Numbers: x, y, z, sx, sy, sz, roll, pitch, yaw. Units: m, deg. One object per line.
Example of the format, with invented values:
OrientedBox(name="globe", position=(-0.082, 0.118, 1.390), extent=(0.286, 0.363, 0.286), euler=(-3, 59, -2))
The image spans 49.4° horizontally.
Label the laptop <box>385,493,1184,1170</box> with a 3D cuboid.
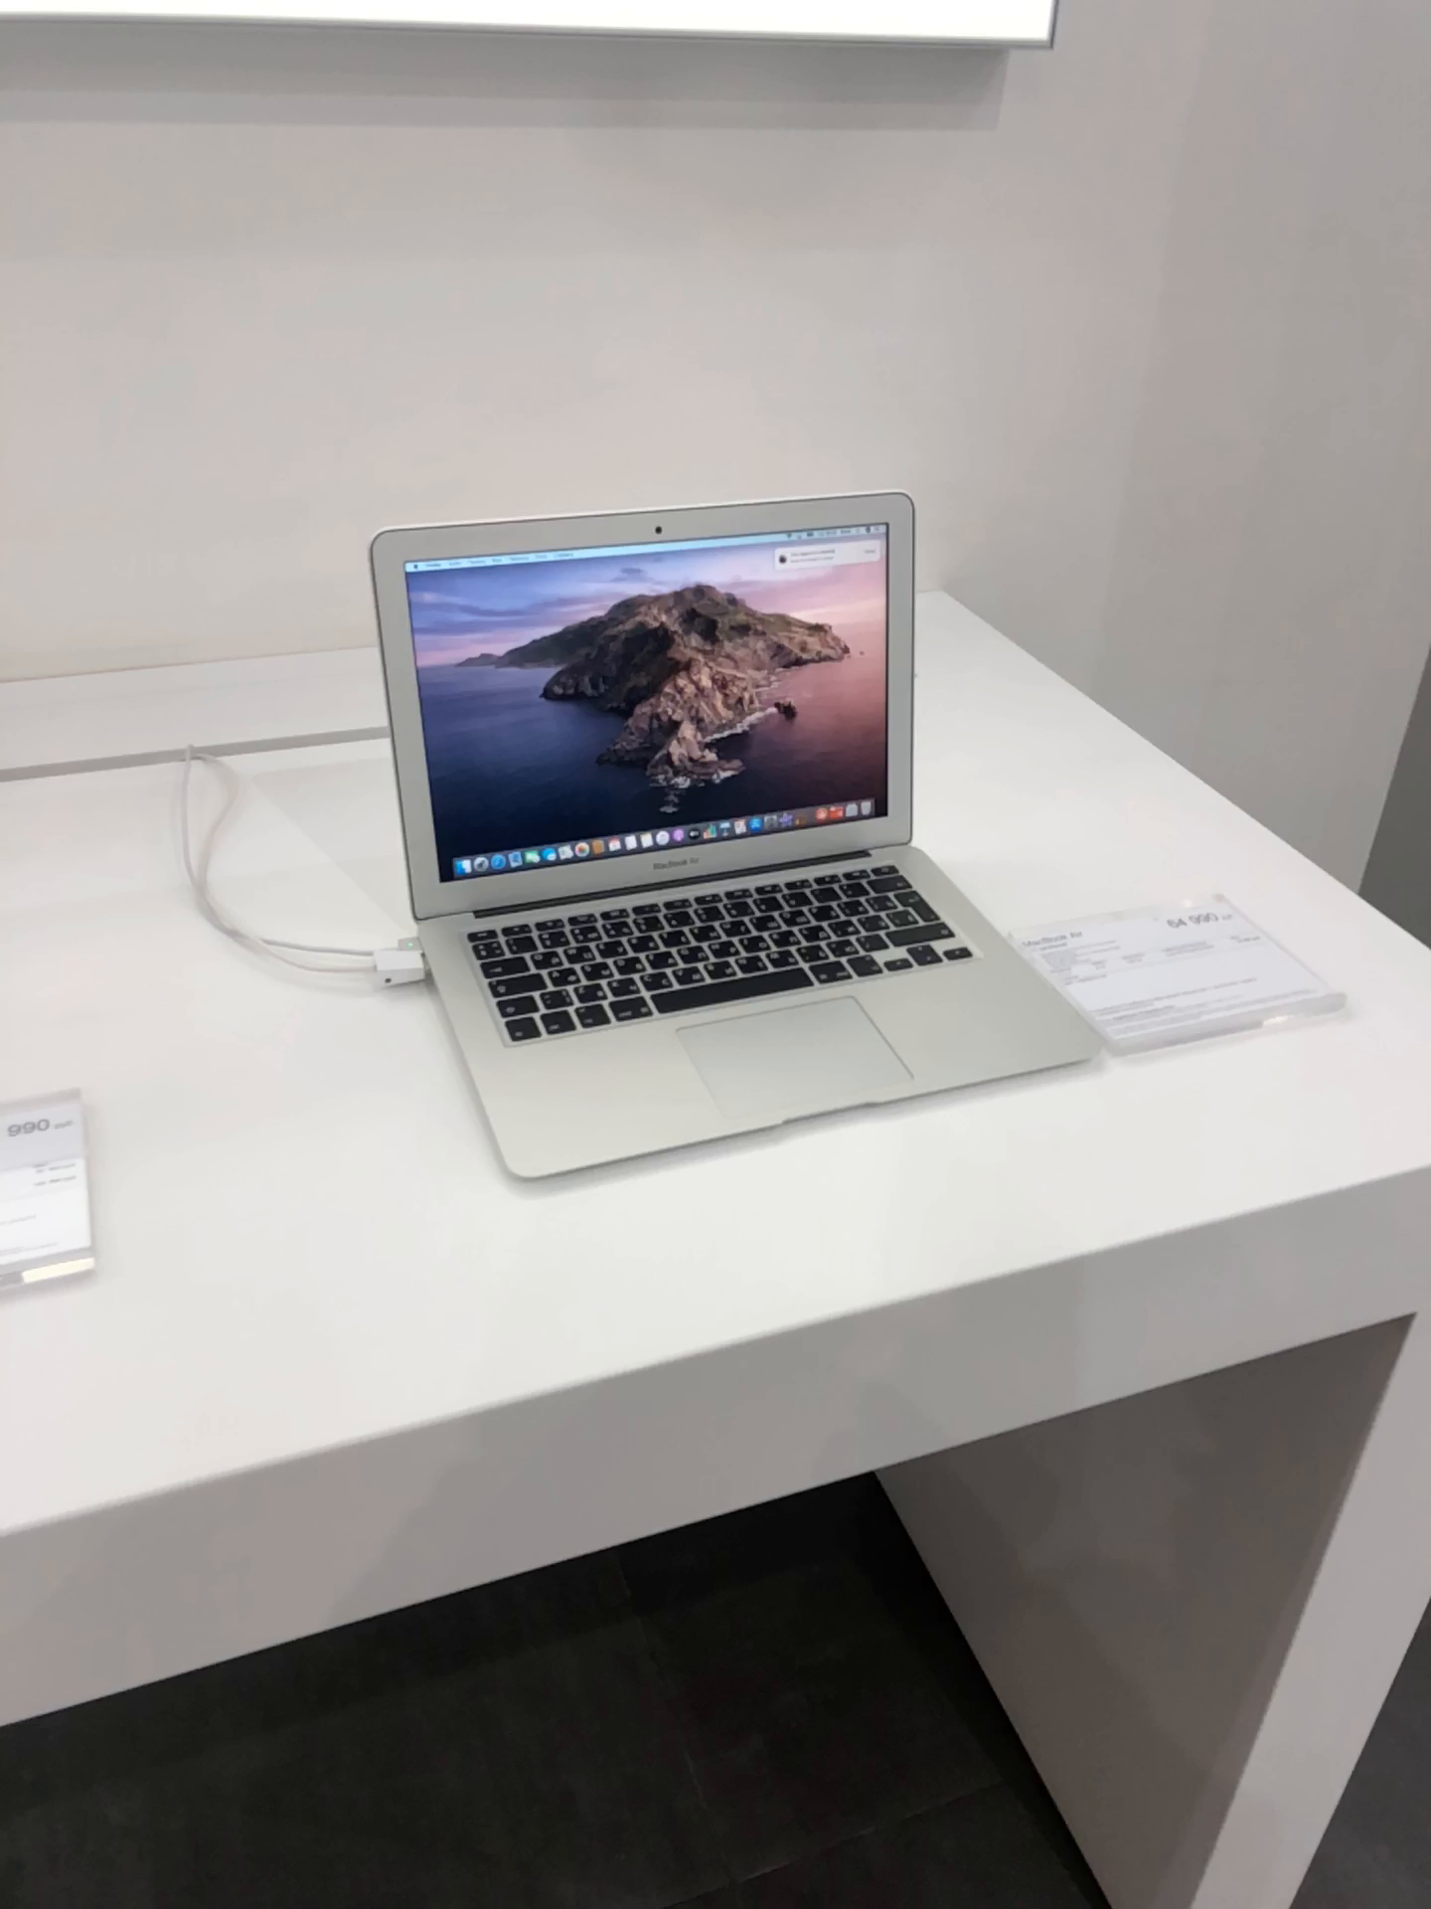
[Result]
OrientedBox(name="laptop", position=(0.016, -0.087, 0.820), extent=(0.315, 0.207, 0.271), euler=(-10, 35, -19))
